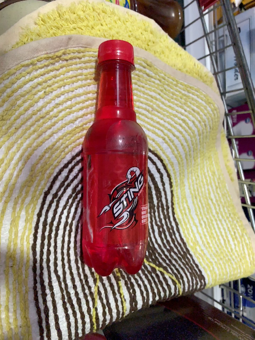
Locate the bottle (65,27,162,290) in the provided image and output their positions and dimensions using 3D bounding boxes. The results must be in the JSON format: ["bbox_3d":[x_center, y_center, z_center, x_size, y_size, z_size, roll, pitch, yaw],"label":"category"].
[{"bbox_3d":[-0.011,-0.007,0.206,0.060,0.040,0.170,-1,90,-35],"label":"bottle"}]
